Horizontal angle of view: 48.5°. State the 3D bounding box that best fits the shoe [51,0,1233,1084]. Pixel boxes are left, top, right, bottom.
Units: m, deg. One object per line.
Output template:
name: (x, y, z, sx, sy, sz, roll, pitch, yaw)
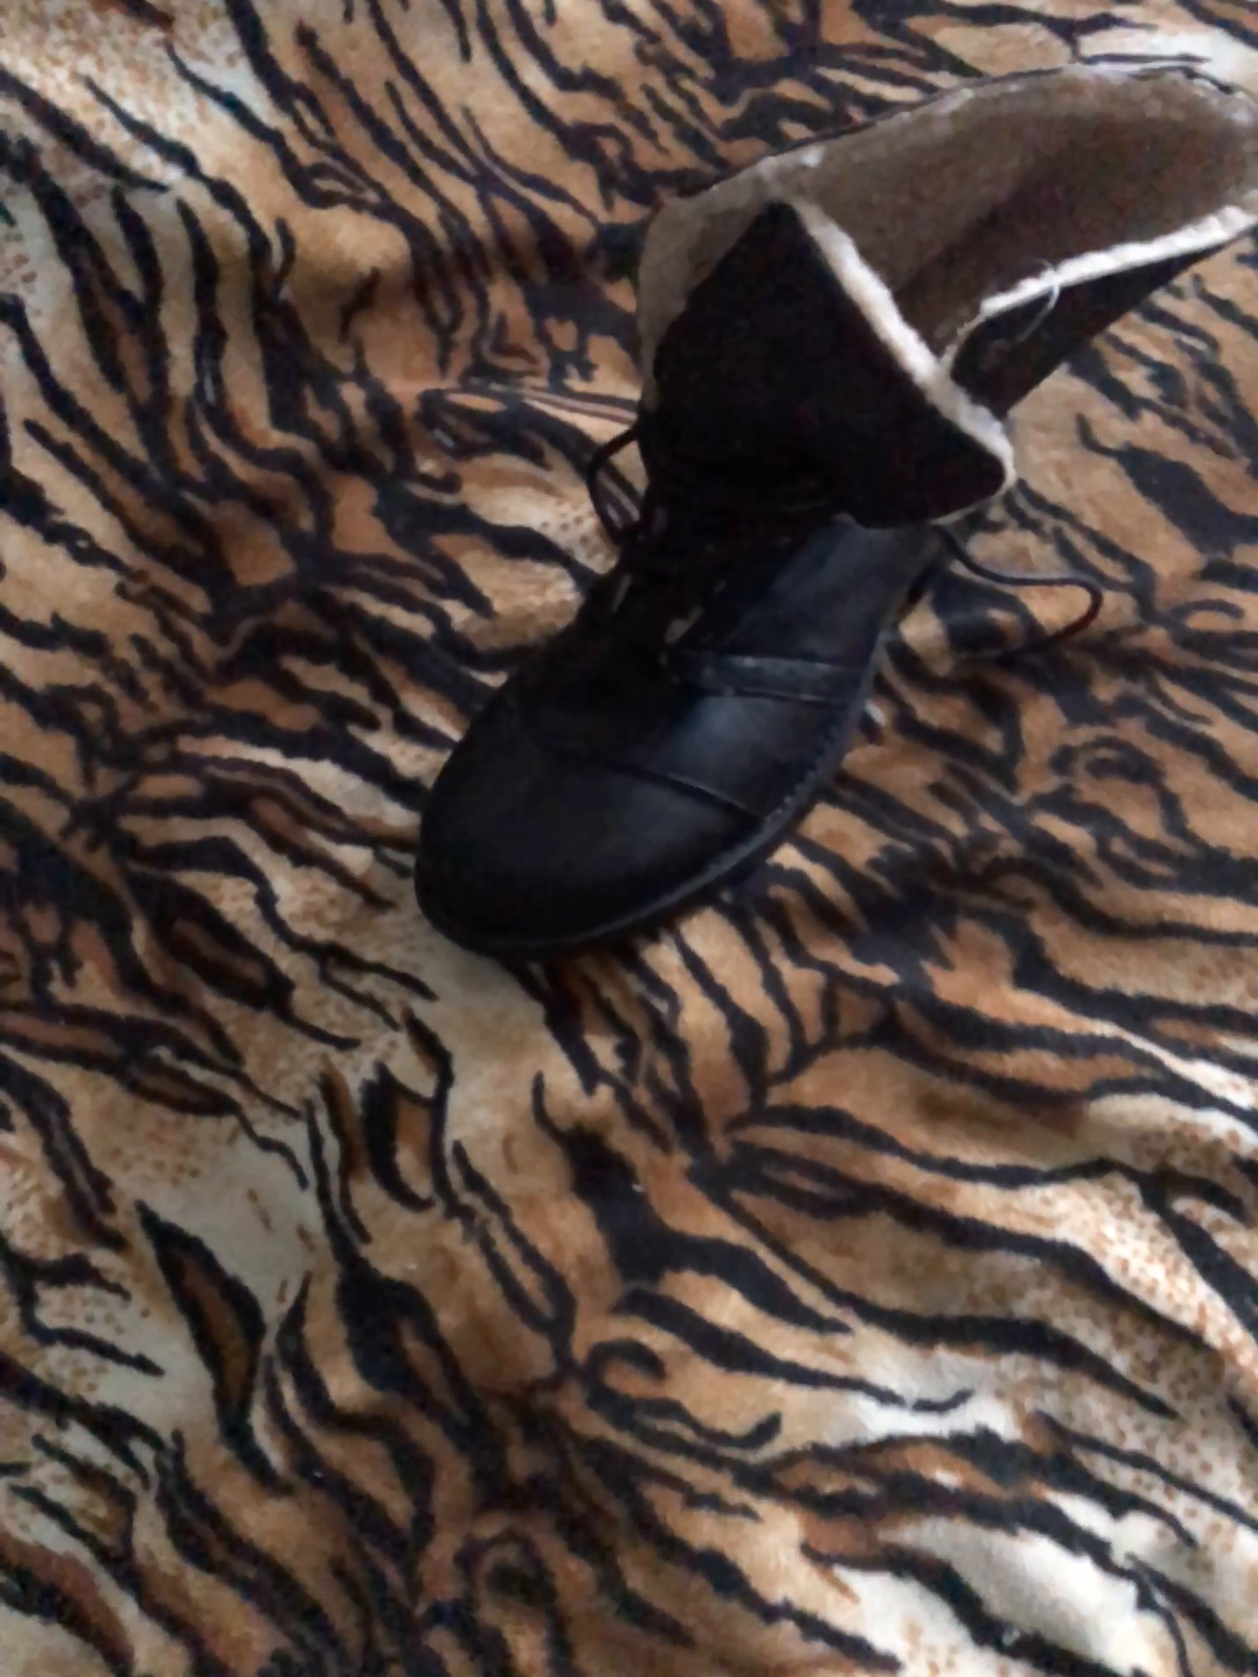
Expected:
shoe: (0.021, -0.108, 0.470, 0.140, 0.200, 0.330, 38, 81, 22)
